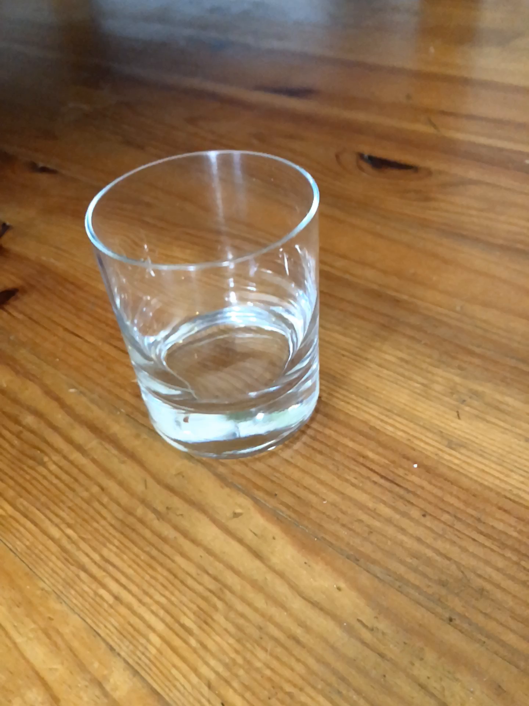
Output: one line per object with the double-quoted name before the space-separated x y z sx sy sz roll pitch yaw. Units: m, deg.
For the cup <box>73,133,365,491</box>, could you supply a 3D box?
"cup" -0.018 -0.019 0.232 0.082 0.090 0.087 -3 42 3
